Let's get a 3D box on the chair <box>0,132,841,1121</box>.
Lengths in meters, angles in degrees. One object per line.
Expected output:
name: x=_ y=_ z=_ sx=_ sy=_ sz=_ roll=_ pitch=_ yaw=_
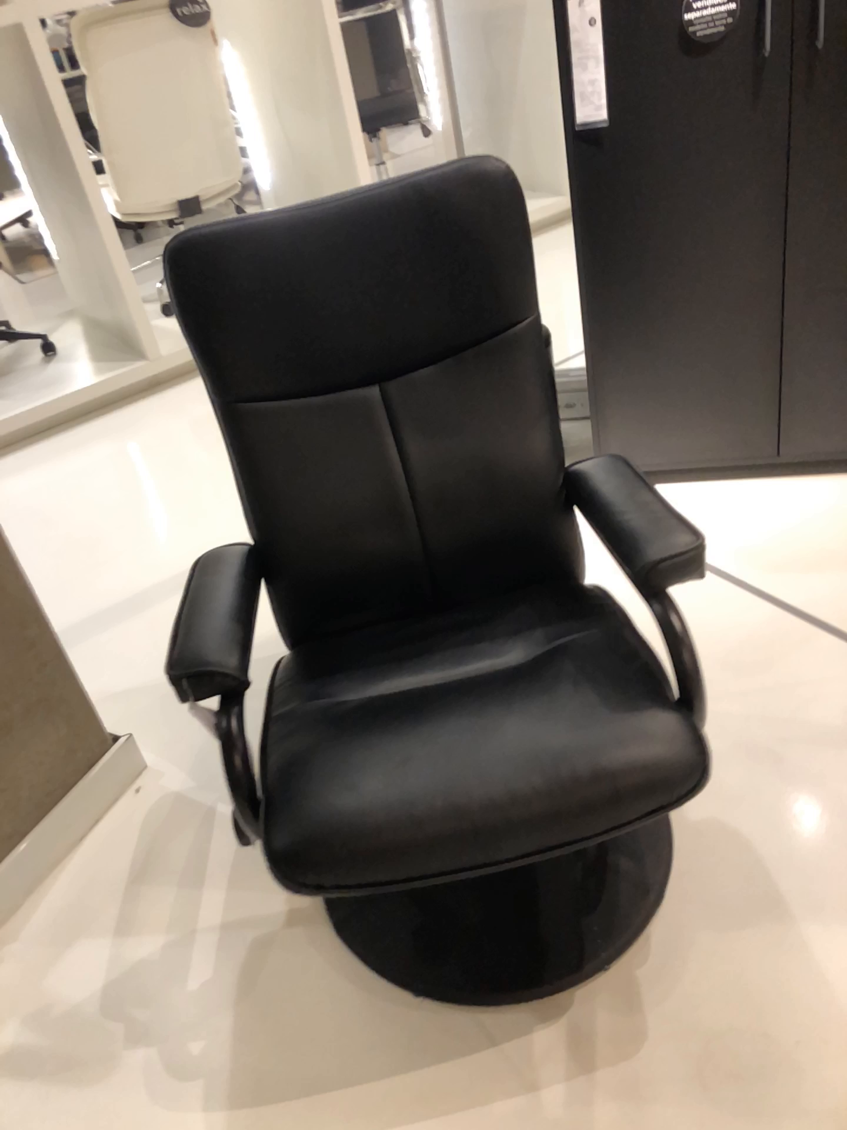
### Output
chair: x=0.023 y=0.064 z=1.284 sx=0.690 sy=0.992 sz=0.736 roll=-14 pitch=34 yaw=-1
